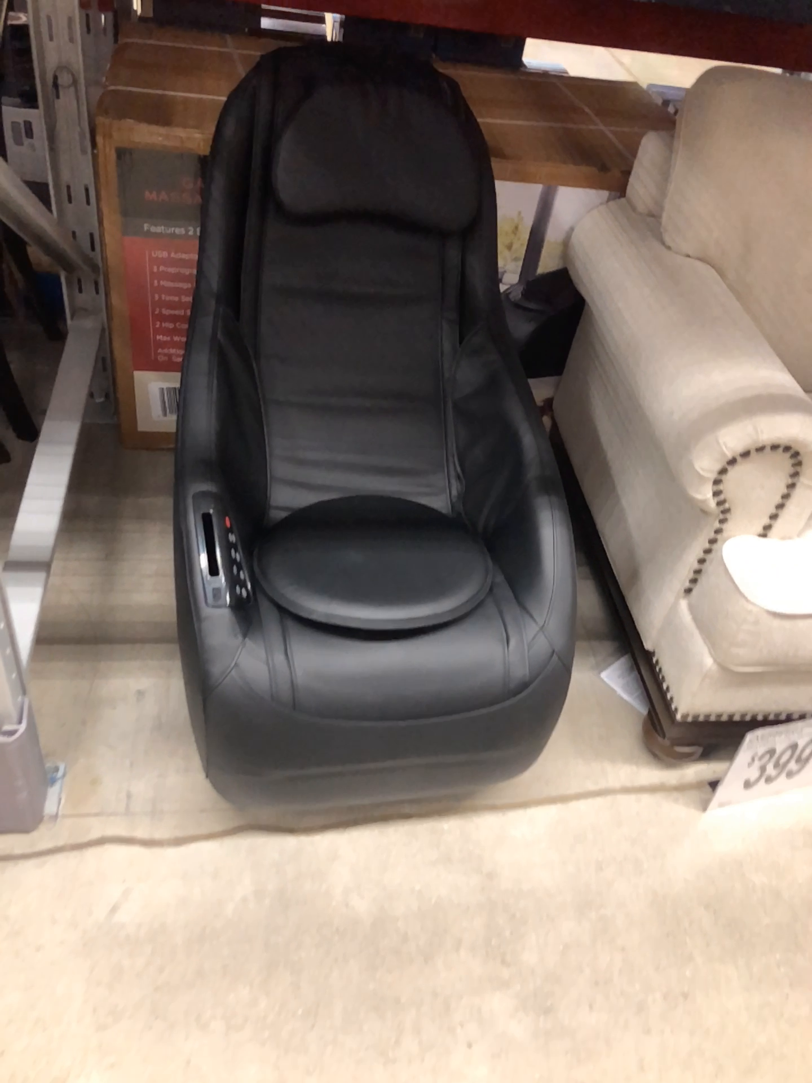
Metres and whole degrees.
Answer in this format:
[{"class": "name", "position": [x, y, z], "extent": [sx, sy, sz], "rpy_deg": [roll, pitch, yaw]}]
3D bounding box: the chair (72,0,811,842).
[{"class": "chair", "position": [-0.053, -0.166, 1.226], "extent": [0.651, 0.848, 0.701], "rpy_deg": [-2, 43, -15]}]
